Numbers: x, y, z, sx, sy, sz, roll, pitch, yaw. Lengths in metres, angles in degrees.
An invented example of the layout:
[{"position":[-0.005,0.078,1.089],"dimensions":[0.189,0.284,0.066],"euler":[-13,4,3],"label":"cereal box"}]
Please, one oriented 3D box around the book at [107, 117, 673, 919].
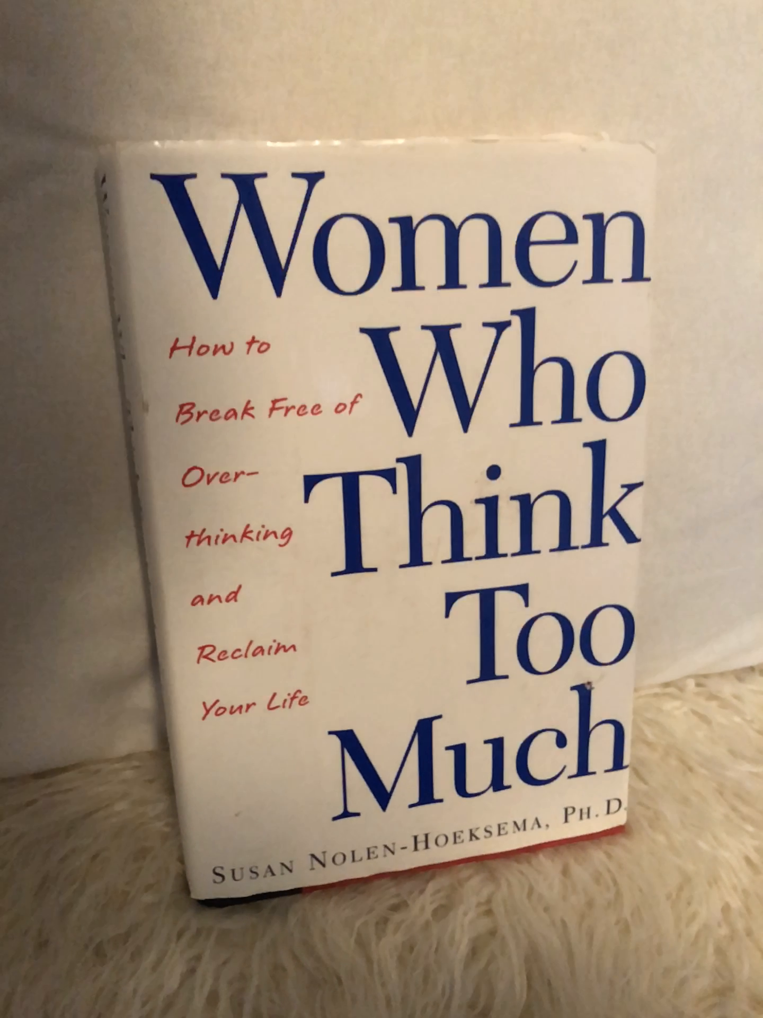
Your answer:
[{"position":[0.008,0.004,0.288],"dimensions":[0.166,0.241,0.040],"euler":[-5,13,-14],"label":"book"}]
